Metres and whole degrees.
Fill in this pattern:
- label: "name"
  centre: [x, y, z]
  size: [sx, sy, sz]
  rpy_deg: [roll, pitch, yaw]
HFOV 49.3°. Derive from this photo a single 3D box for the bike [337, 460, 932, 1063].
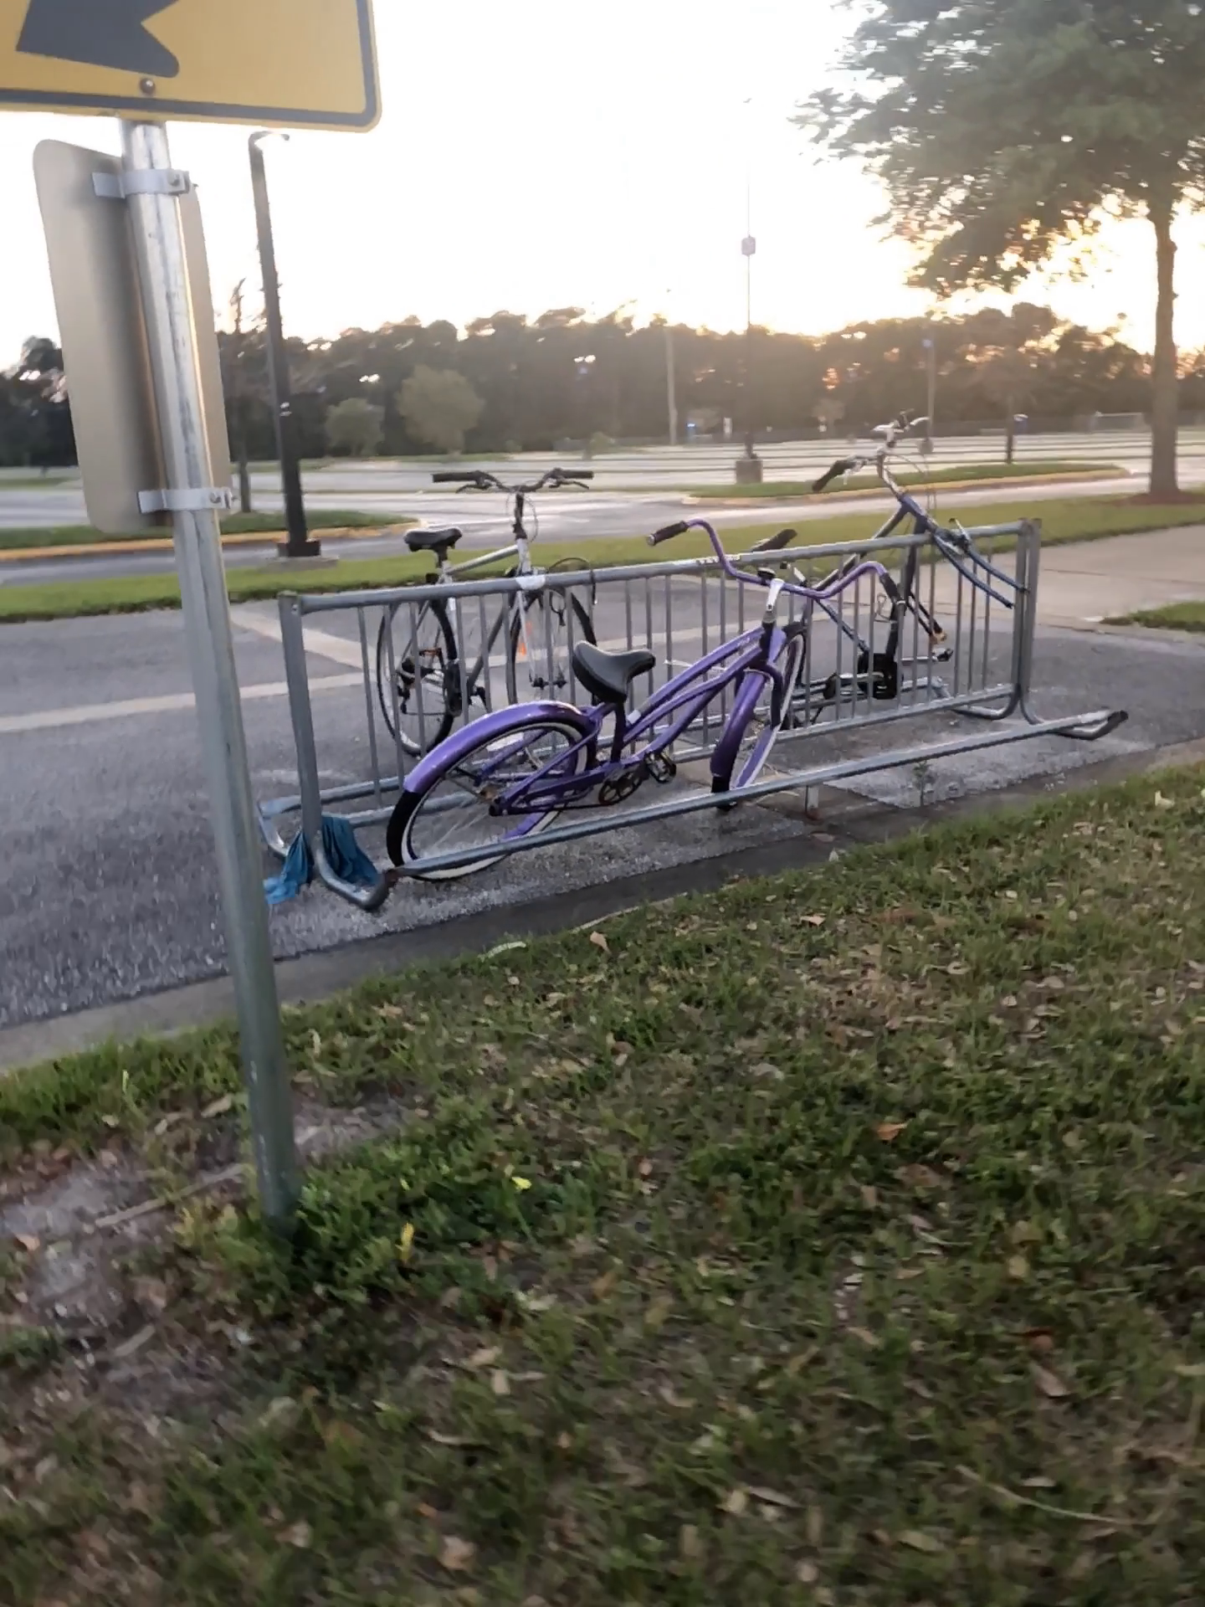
- label: "bike"
  centre: [0.157, -0.290, 3.792]
  size: [1.704, 1.118, 0.851]
  rpy_deg: [-20, 22, -39]
